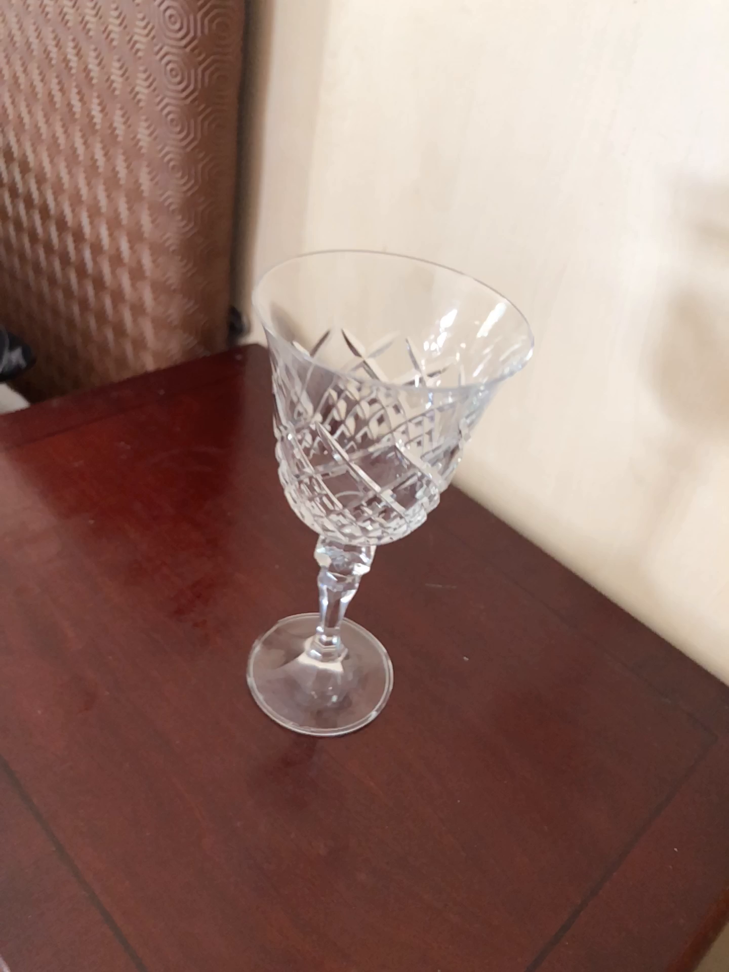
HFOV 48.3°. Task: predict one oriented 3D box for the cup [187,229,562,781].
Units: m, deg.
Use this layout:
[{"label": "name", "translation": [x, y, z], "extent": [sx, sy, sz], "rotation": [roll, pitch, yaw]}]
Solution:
[{"label": "cup", "translation": [-0.002, 0.010, 0.312], "extent": [0.091, 0.170, 0.092], "rotation": [7, 38, -6]}]
